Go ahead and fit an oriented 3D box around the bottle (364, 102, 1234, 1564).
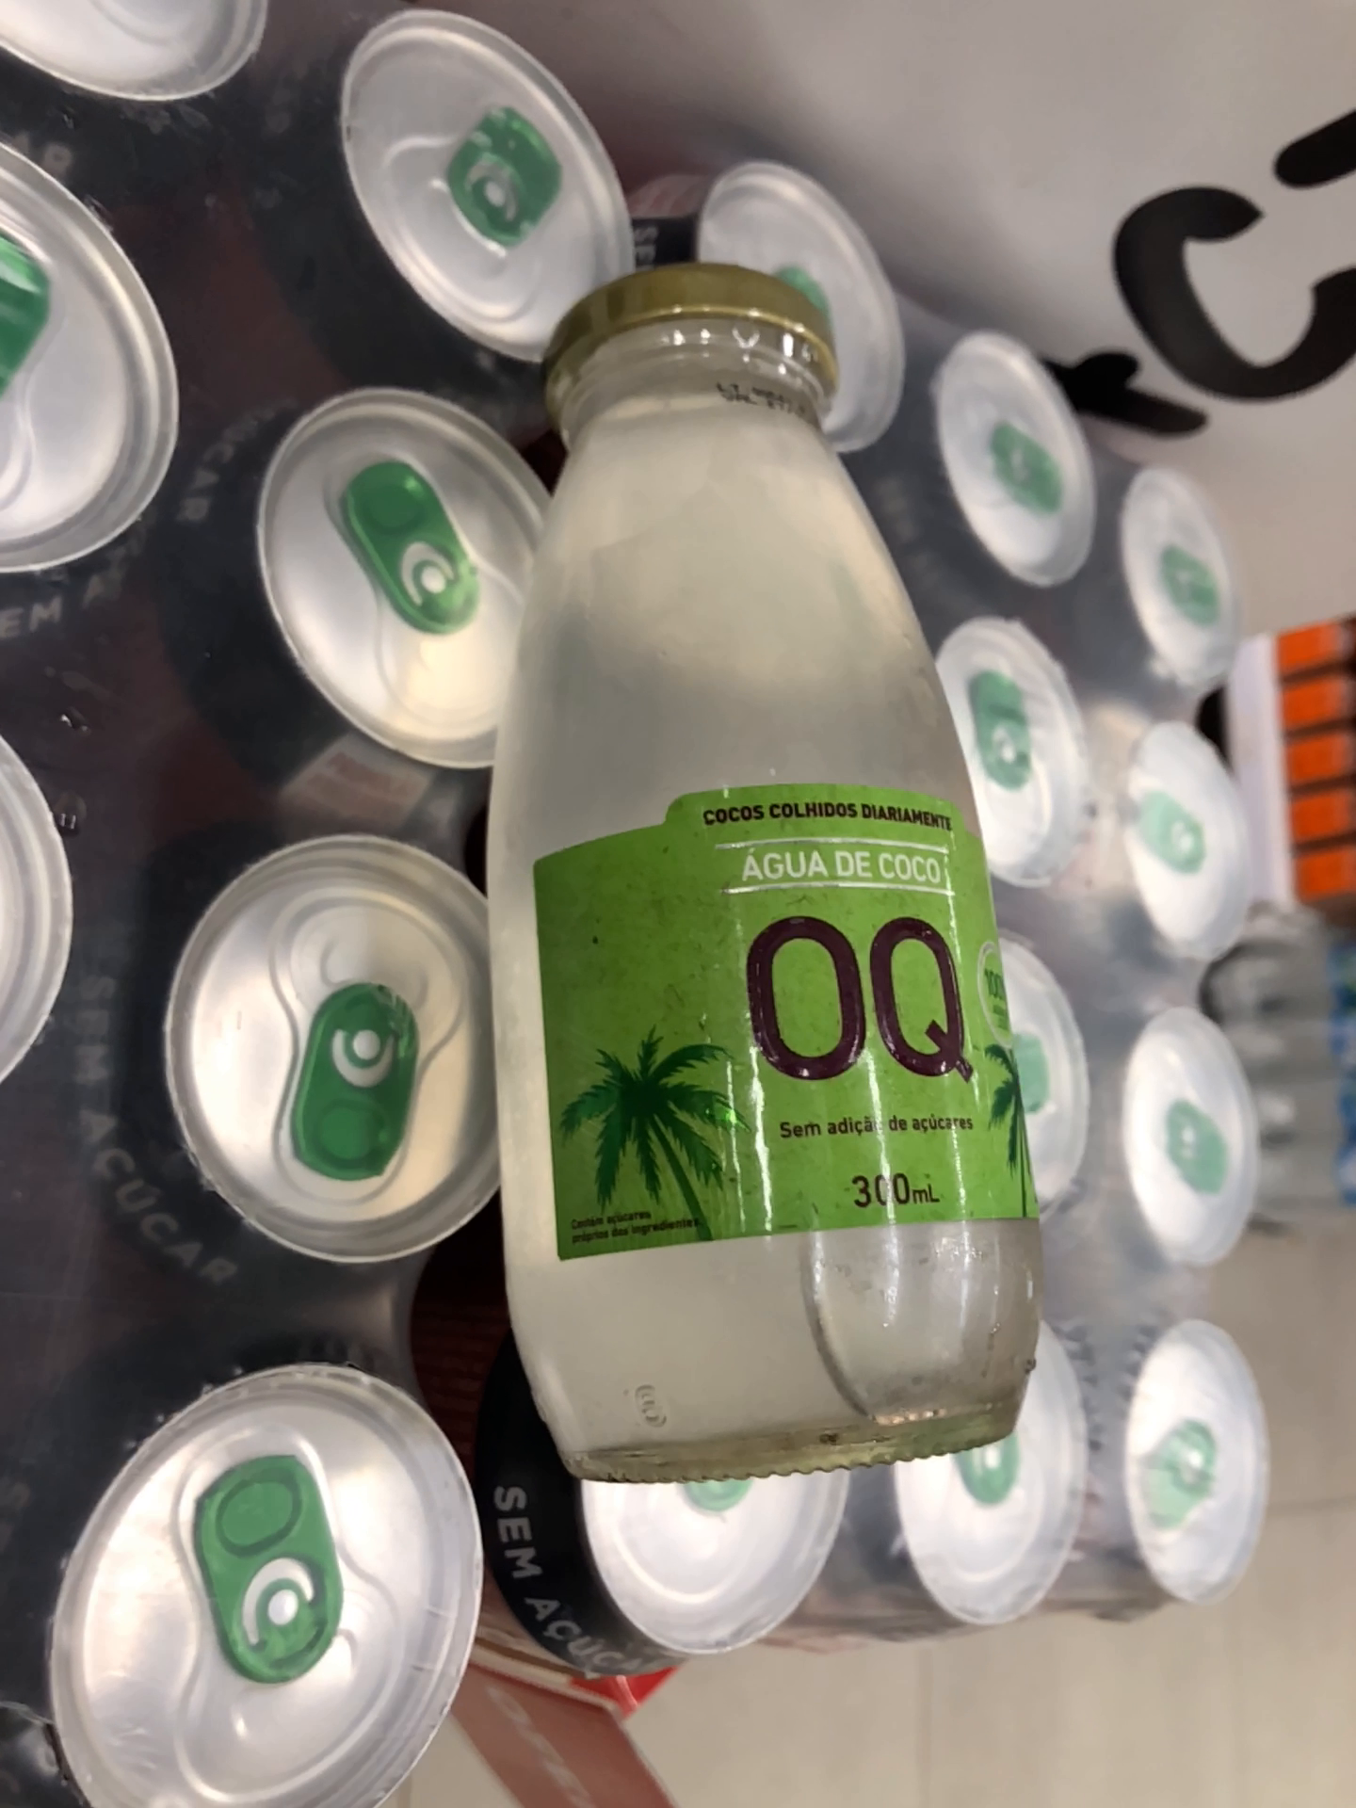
[{"bbox_3d":[0.008,-0.008,0.192,0.070,0.060,0.150,-2,77,-24],"label":"bottle"}]
